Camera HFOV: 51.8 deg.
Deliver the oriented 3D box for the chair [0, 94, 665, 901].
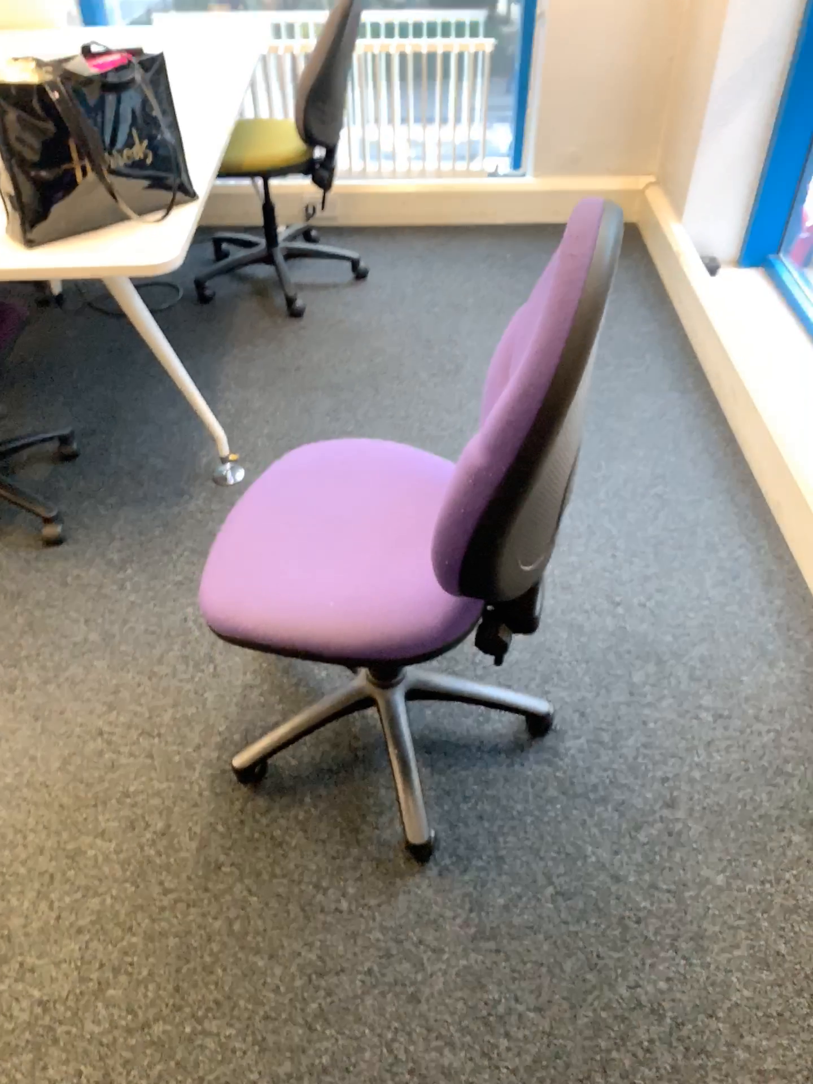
[{"bbox_3d":[-0.017,-0.054,1.314,0.635,0.984,0.674,8,43,10],"label":"chair"}]
